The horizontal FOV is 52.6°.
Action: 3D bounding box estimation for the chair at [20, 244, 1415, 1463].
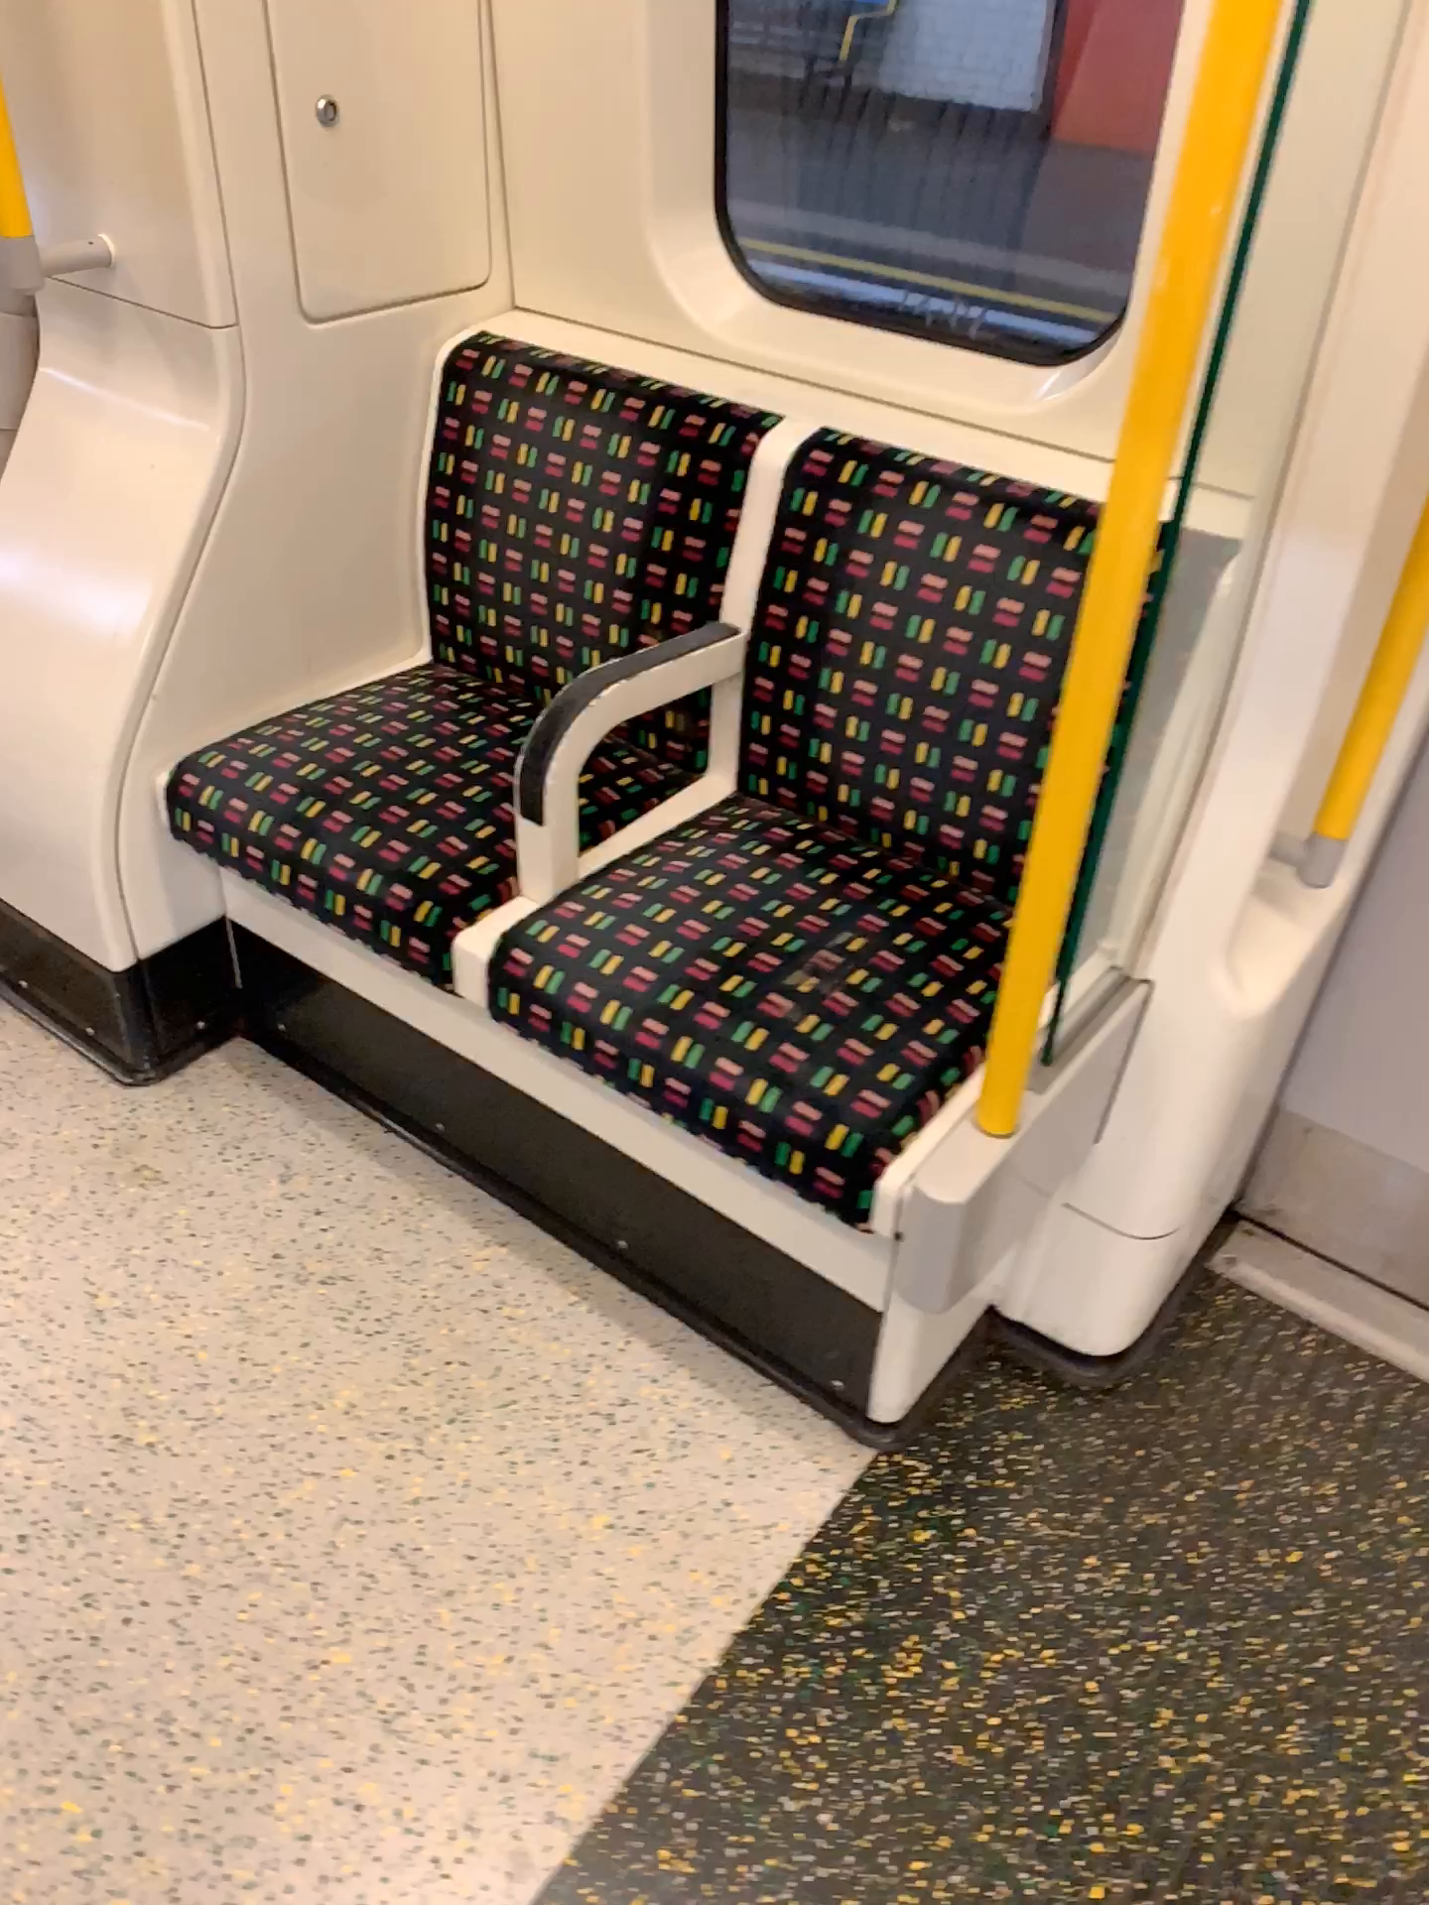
[{"bbox_3d":[0.011,-0.248,1.672,1.064,0.762,0.916,26,43,27],"label":"chair"}]
